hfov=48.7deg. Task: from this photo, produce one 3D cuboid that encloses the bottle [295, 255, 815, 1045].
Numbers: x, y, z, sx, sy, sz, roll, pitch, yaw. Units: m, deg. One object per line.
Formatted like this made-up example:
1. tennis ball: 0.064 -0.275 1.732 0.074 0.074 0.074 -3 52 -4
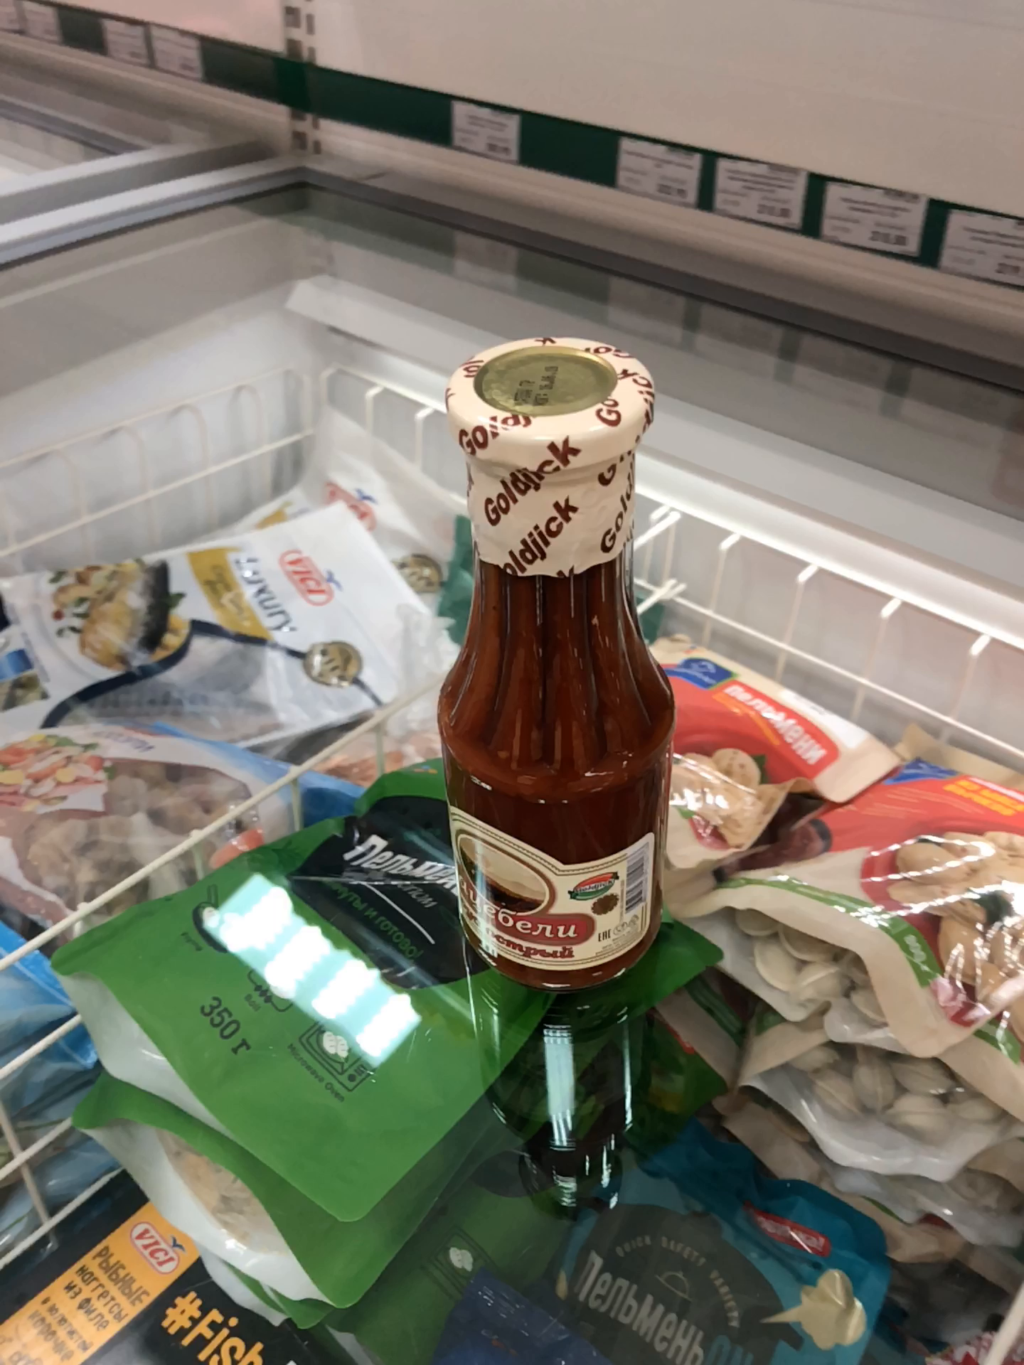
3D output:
1. bottle: 0.011 -0.003 0.301 0.080 0.179 0.080 0 40 0
